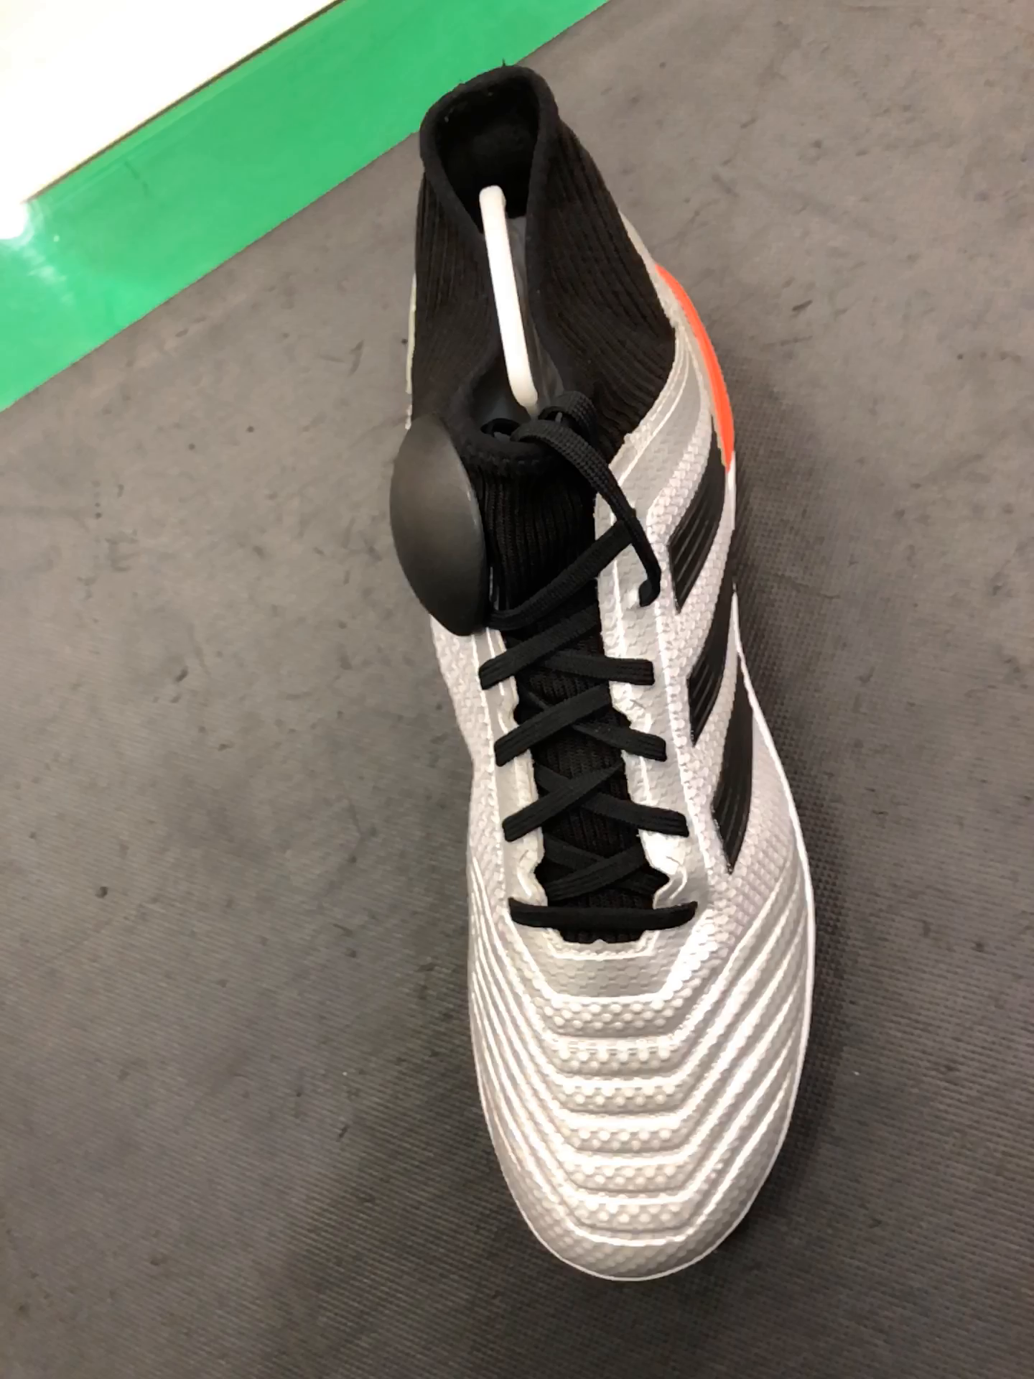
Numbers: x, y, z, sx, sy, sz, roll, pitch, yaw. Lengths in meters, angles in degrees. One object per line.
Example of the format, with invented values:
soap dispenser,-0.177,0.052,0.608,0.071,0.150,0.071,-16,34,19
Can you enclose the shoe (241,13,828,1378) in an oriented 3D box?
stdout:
shoe,0.012,0.011,0.272,0.090,0.140,0.250,-6,79,16
